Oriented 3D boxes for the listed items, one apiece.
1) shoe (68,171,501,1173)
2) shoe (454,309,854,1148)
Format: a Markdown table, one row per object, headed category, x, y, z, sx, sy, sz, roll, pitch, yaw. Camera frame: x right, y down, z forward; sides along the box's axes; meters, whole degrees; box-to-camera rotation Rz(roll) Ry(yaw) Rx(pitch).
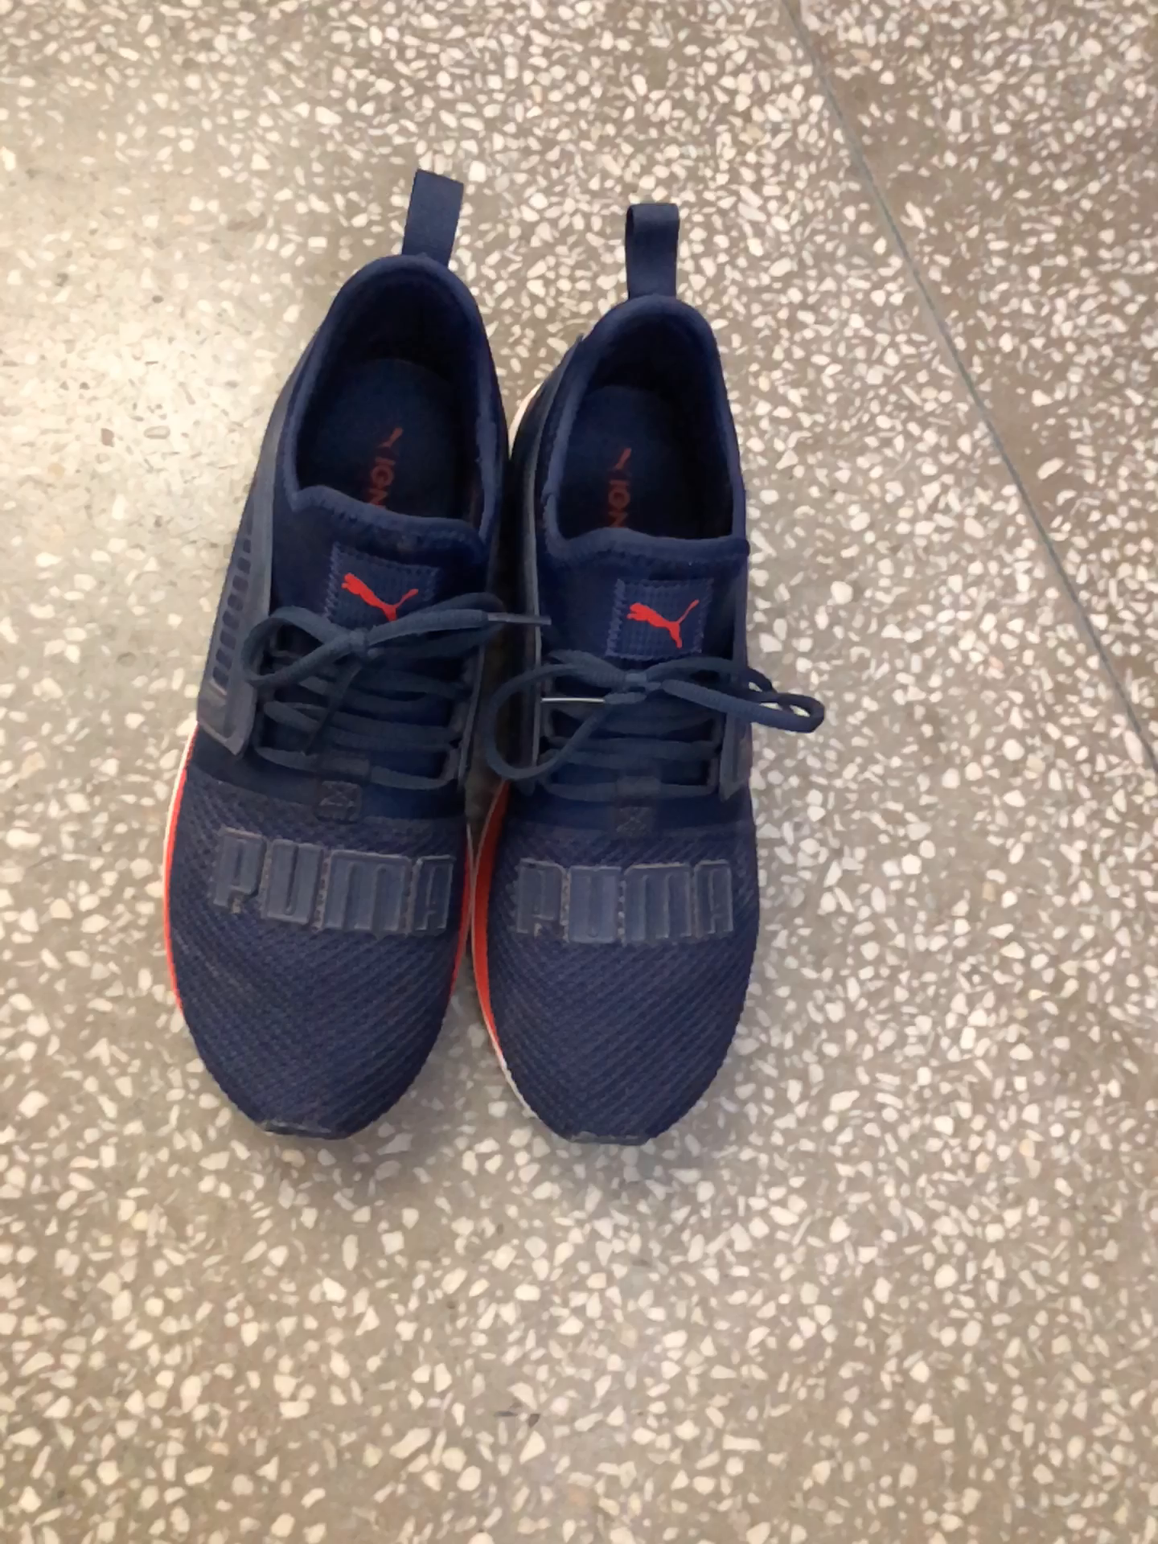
| category | x | y | z | sx | sy | sz | roll | pitch | yaw |
| --- | --- | --- | --- | --- | --- | --- | --- | --- | --- |
| shoe | -0.080 | -0.025 | 0.388 | 0.100 | 0.100 | 0.270 | 2 | 77 | -9 |
| shoe | 0.015 | -0.006 | 0.403 | 0.100 | 0.120 | 0.230 | 1 | 77 | -4 |
